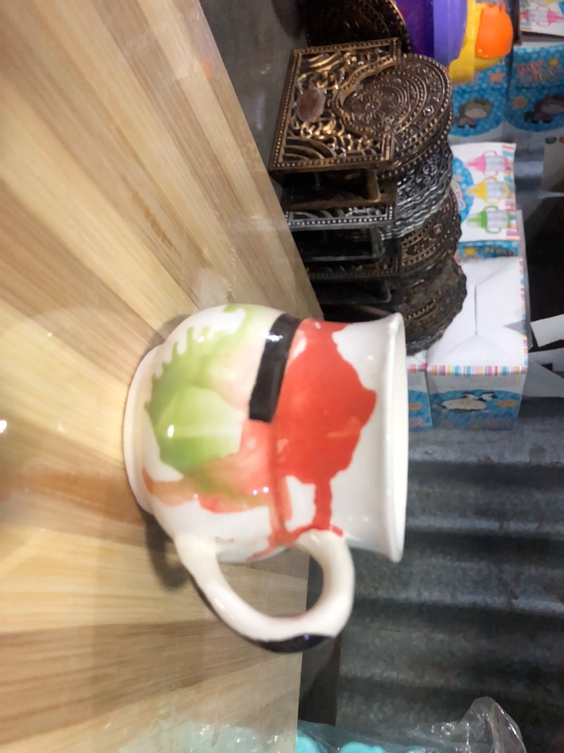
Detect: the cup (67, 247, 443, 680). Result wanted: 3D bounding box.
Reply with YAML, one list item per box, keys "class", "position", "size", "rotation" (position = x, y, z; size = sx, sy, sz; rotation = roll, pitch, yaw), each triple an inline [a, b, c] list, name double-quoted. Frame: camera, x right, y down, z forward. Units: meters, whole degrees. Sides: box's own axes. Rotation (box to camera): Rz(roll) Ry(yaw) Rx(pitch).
- class: "cup"
  position: [0.003, 0.023, 0.159]
  size: [0.060, 0.070, 0.090]
  rotation: [67, 27, -63]
